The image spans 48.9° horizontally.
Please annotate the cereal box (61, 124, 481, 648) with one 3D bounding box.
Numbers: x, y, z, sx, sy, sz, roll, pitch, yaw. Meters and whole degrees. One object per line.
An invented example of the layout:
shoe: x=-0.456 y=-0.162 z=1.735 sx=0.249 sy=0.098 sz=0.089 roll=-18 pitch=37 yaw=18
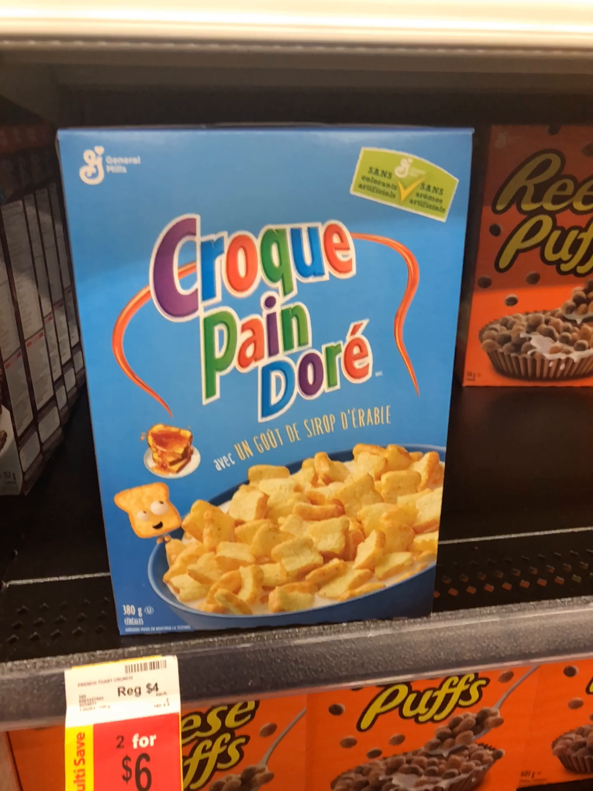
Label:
cereal box: x=-0.012 y=0.001 z=0.388 sx=0.200 sy=0.298 sz=0.060 roll=-2 pitch=20 yaw=-4
